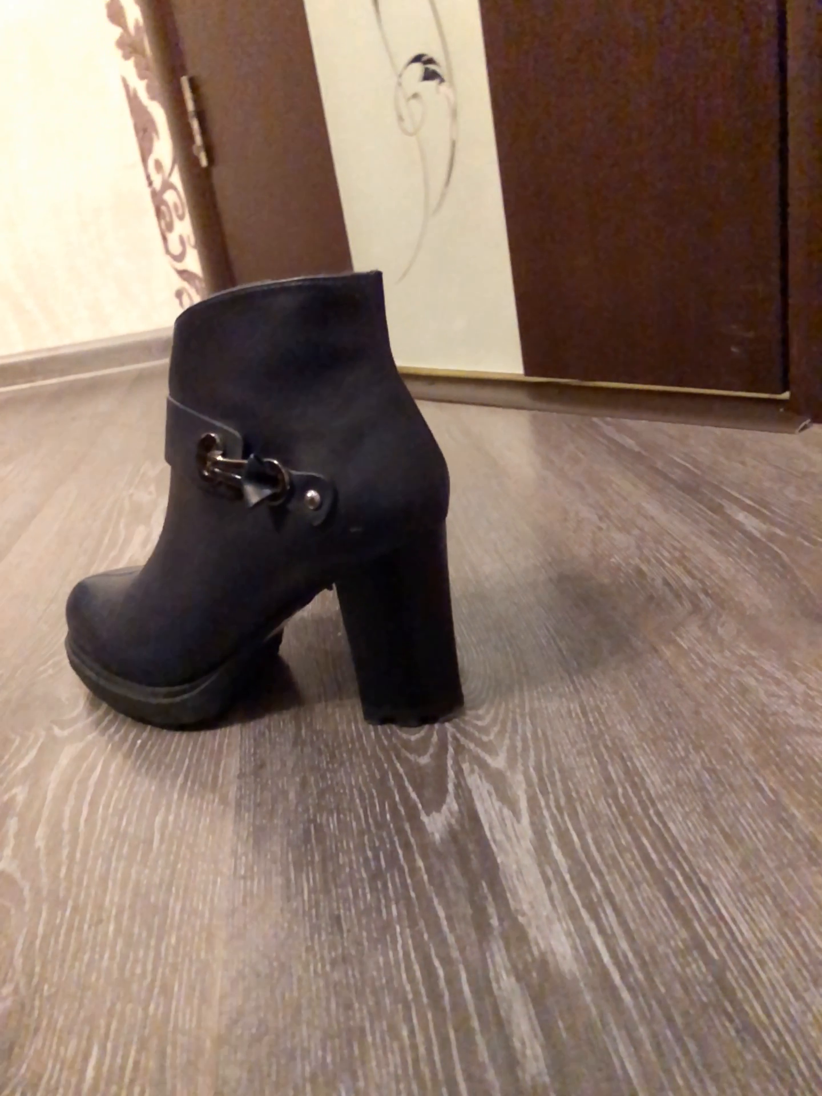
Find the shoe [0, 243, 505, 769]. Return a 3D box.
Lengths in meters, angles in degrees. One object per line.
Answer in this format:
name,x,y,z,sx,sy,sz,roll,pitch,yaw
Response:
shoe,-0.094,-0.022,0.422,0.230,0.189,0.111,1,24,25
